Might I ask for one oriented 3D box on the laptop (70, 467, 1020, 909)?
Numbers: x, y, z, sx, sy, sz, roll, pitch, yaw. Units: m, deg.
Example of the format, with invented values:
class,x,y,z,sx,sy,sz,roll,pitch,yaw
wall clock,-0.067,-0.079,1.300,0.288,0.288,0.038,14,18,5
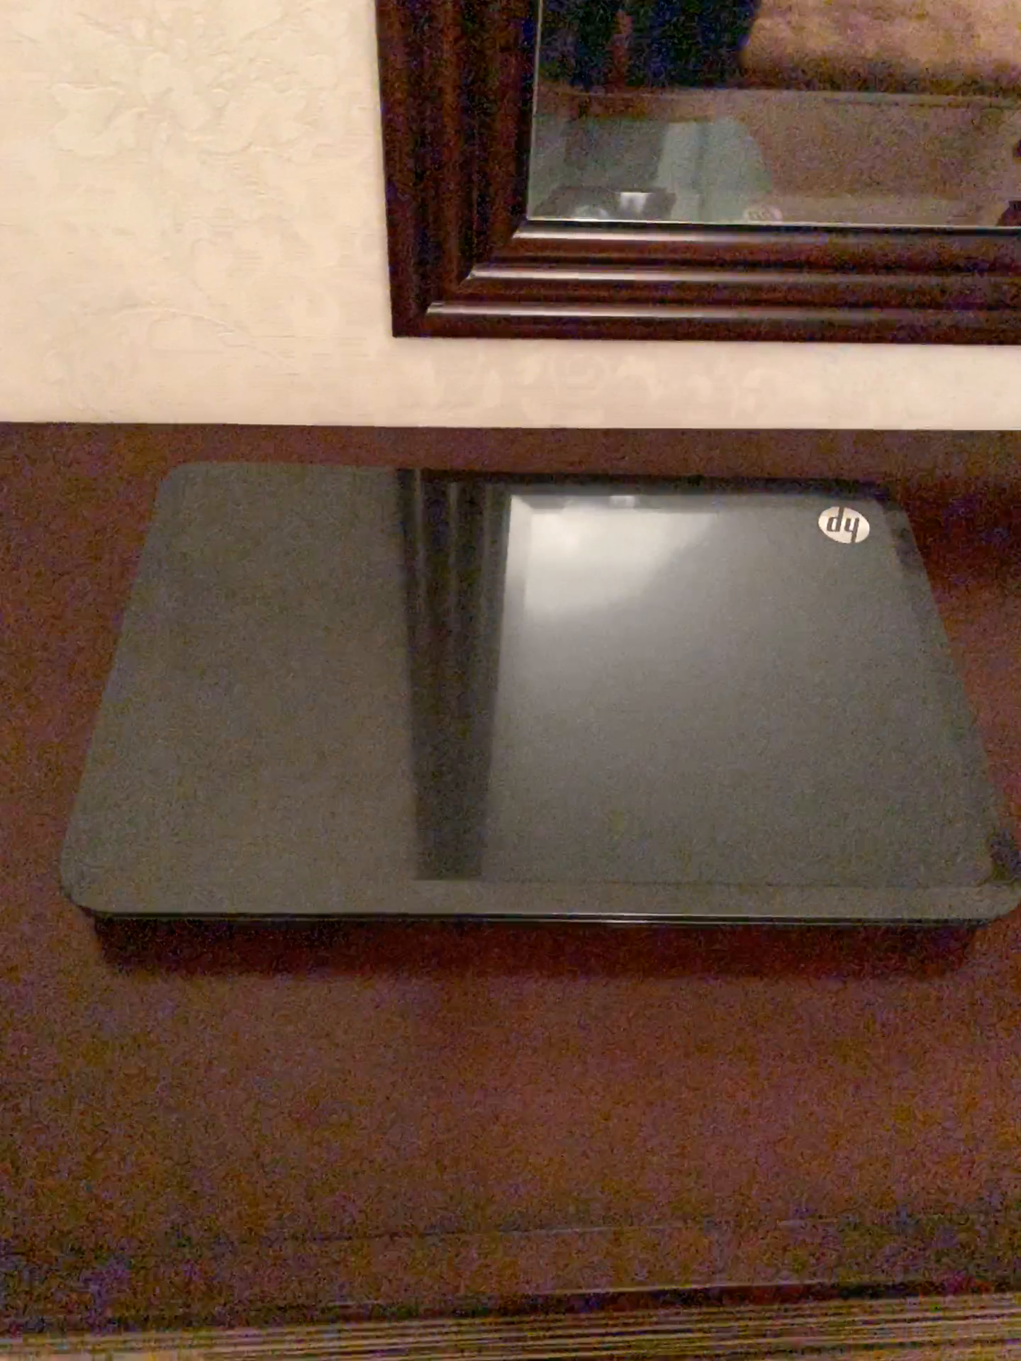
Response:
class,x,y,z,sx,sy,sz,roll,pitch,yaw
laptop,0.016,-0.009,0.444,0.344,0.003,0.223,1,53,-3
